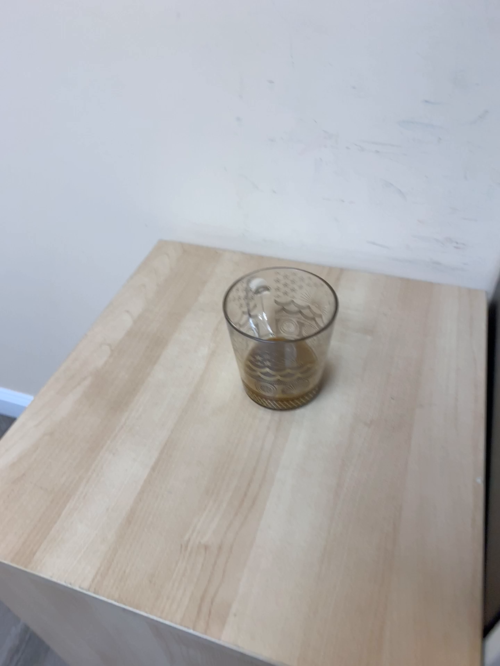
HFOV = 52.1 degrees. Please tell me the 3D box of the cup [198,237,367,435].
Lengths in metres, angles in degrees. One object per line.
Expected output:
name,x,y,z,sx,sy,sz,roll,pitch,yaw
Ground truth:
cup,0.024,-0.001,0.458,0.099,0.098,0.125,-16,45,-14
